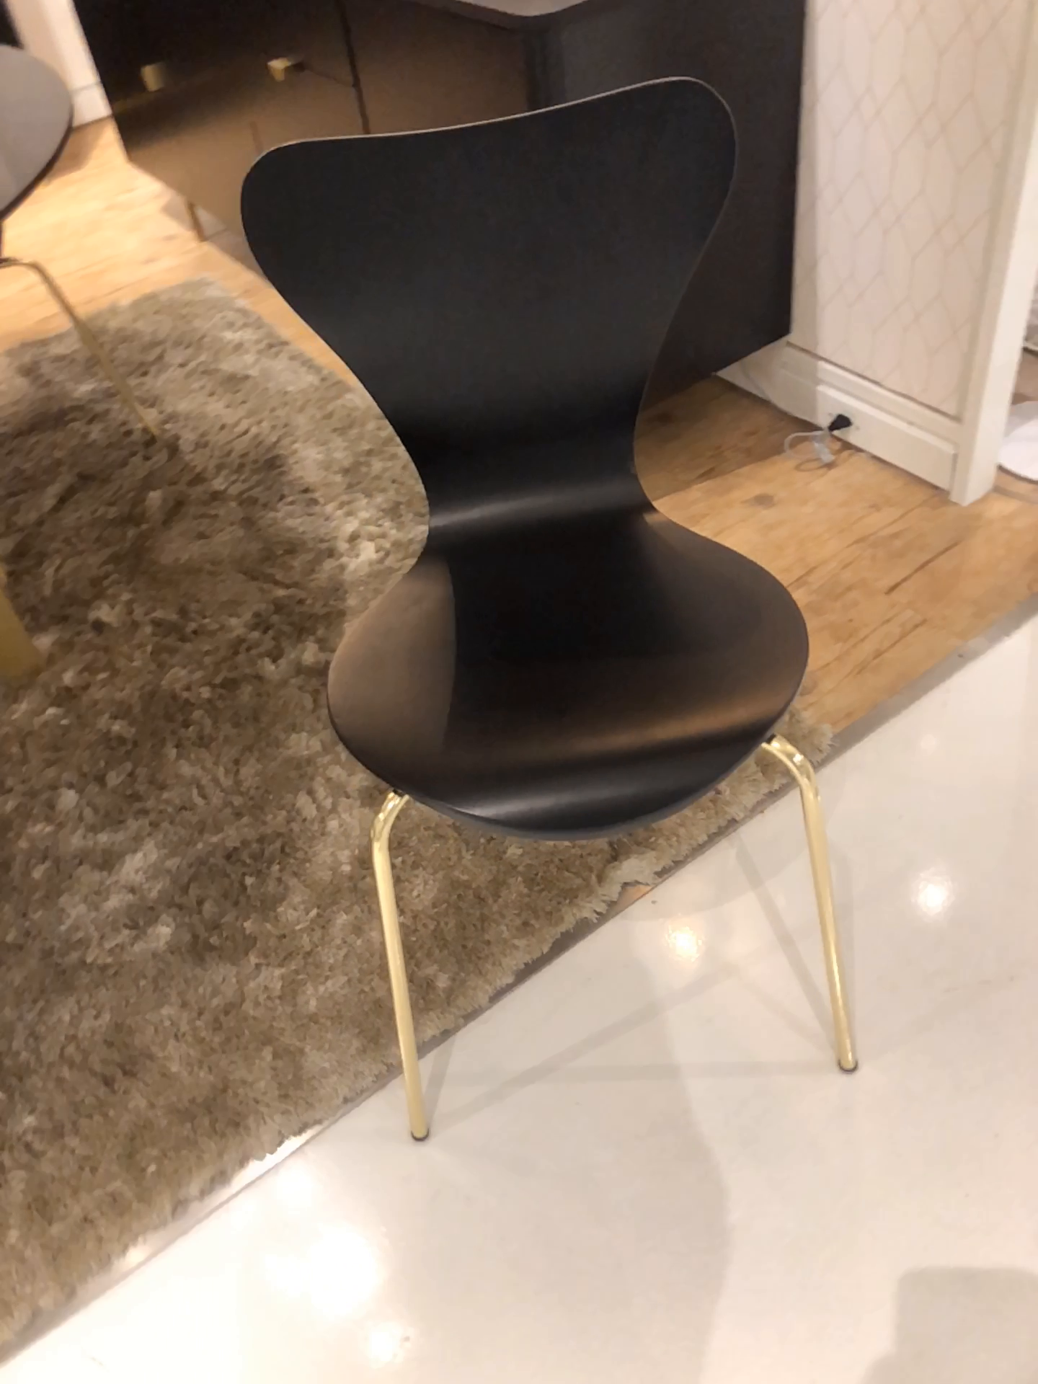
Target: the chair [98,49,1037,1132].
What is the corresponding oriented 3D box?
[{"bbox_3d":[0.048,-0.052,1.027,0.500,0.754,0.504,-9,44,0],"label":"chair"}]
